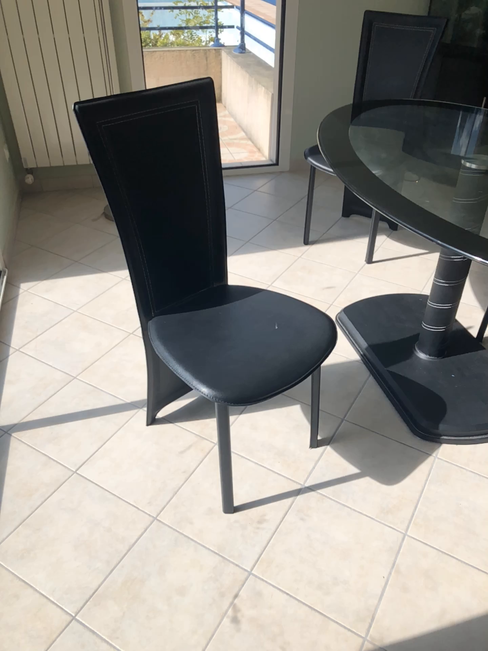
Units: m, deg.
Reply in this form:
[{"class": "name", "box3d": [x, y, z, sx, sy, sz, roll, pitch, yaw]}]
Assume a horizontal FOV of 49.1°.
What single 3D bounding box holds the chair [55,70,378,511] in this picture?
[{"class": "chair", "box3d": [-0.059, -0.098, 1.357, 0.452, 0.895, 0.500, -29, 43, -34]}]
